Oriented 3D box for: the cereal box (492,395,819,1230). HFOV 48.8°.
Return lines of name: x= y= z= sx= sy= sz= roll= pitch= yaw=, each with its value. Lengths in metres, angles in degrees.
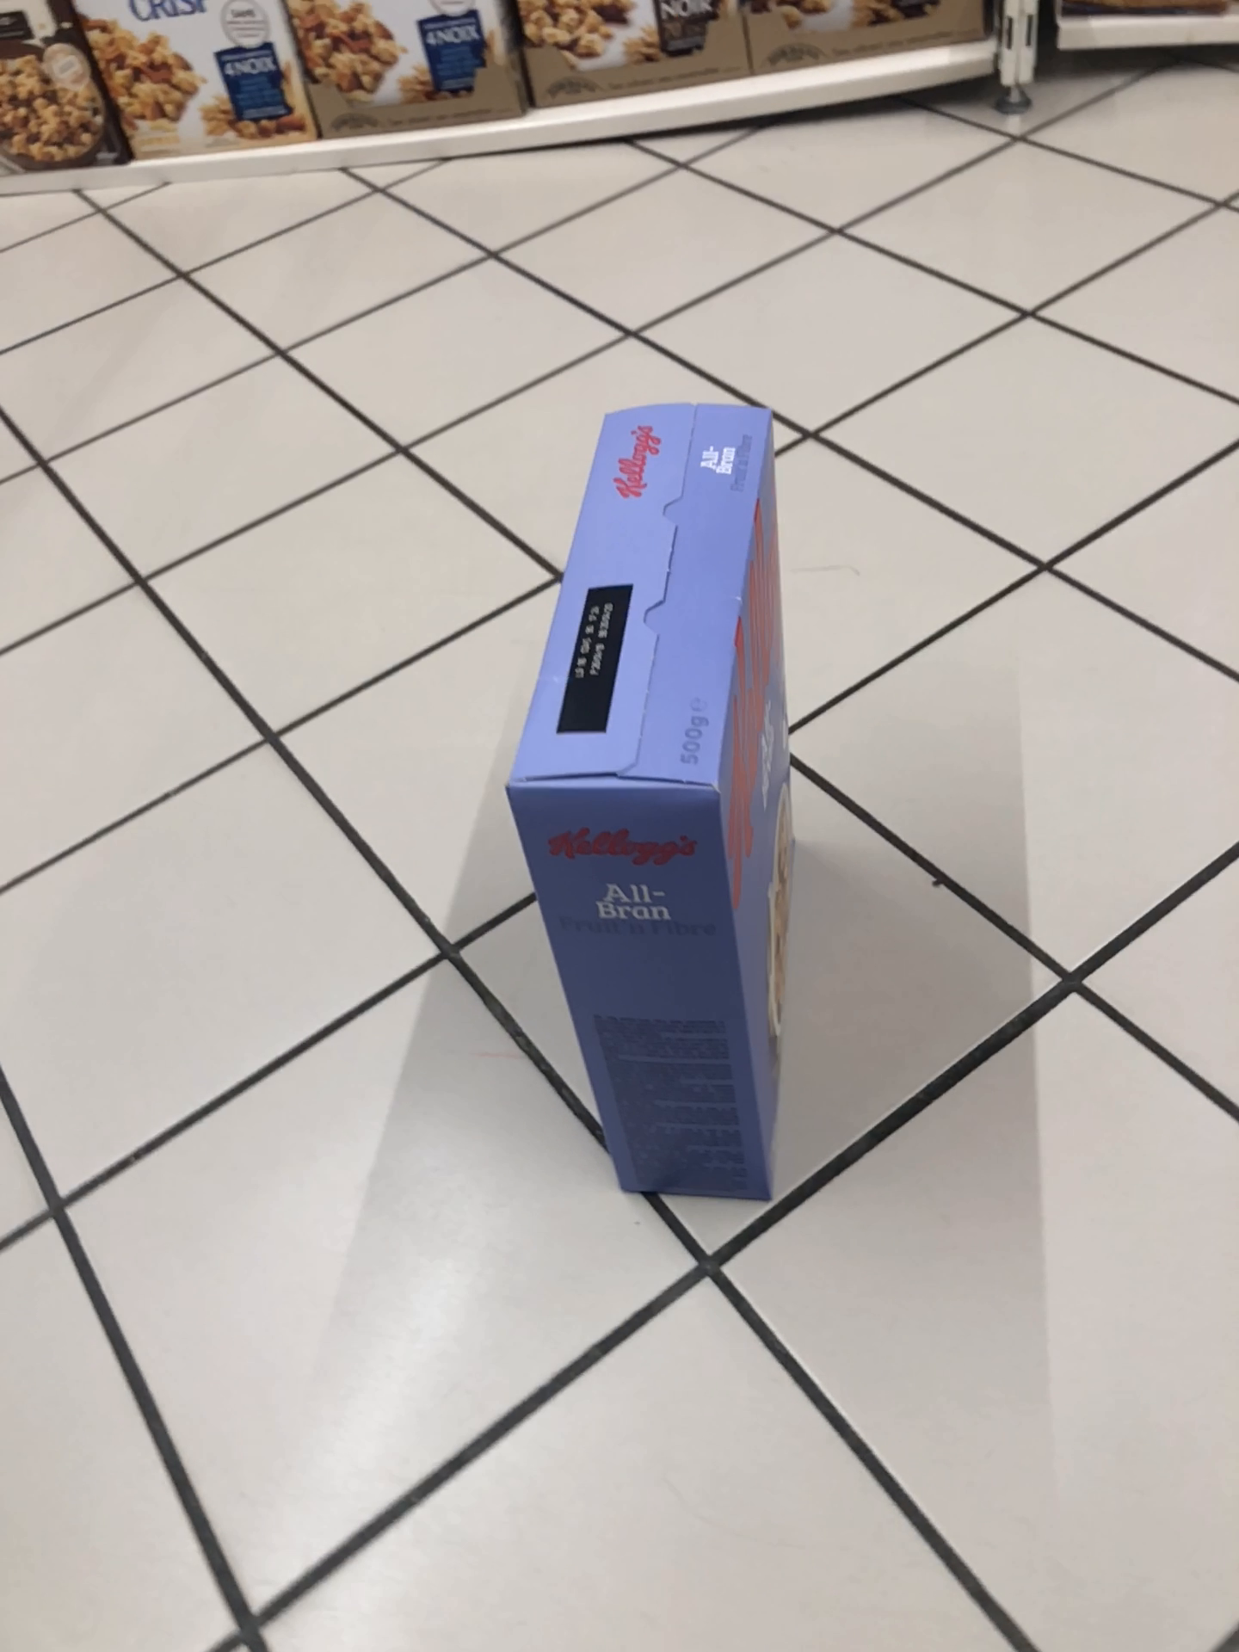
cereal box: x=0.031 y=0.001 z=0.512 sx=0.070 sy=0.239 sz=0.201 roll=0 pitch=48 yaw=11
